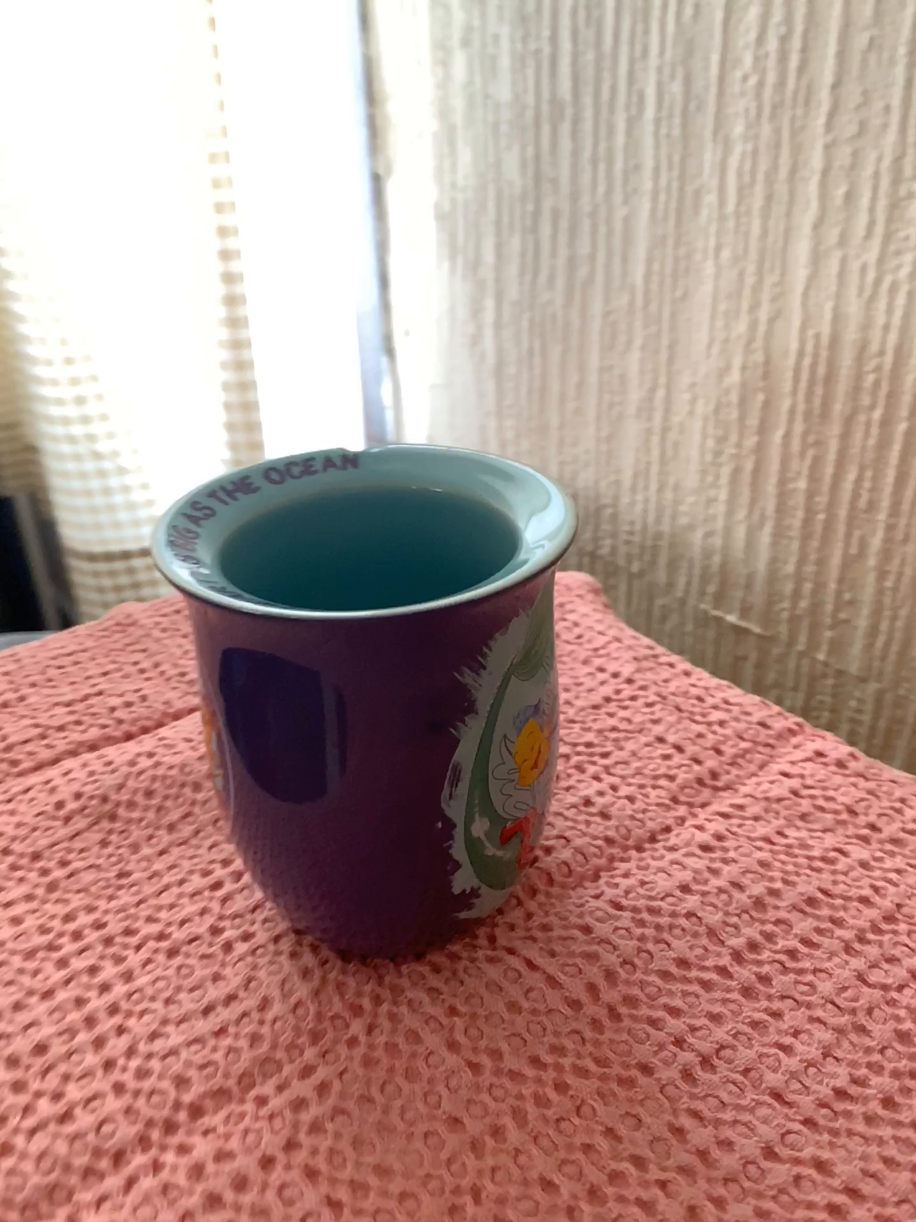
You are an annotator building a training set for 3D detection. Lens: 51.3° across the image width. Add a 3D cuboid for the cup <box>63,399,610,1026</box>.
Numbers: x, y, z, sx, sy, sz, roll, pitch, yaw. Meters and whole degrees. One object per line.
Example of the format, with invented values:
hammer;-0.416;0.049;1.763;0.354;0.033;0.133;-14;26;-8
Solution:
cup;-0.014;0.014;0.256;0.100;0.099;0.141;1;30;6
